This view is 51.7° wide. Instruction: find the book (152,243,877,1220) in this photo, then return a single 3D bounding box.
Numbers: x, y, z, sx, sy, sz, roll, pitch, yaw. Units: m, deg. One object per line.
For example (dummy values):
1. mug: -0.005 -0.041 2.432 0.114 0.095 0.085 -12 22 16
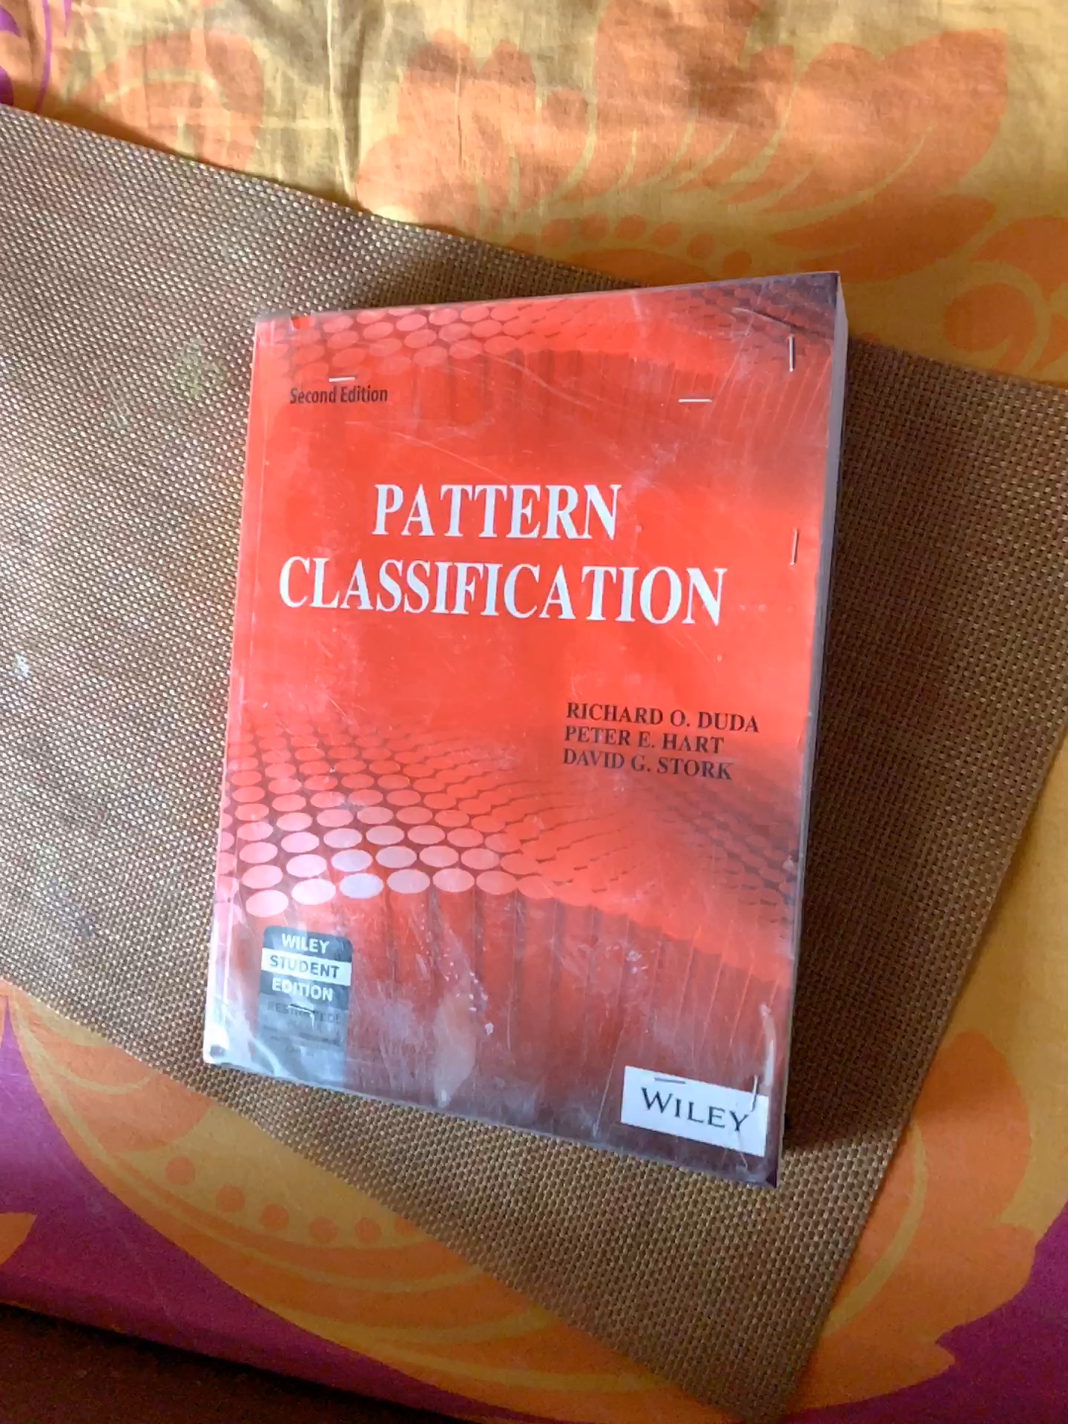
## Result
1. book: -0.009 -0.002 0.307 0.180 0.040 0.230 5 90 19
